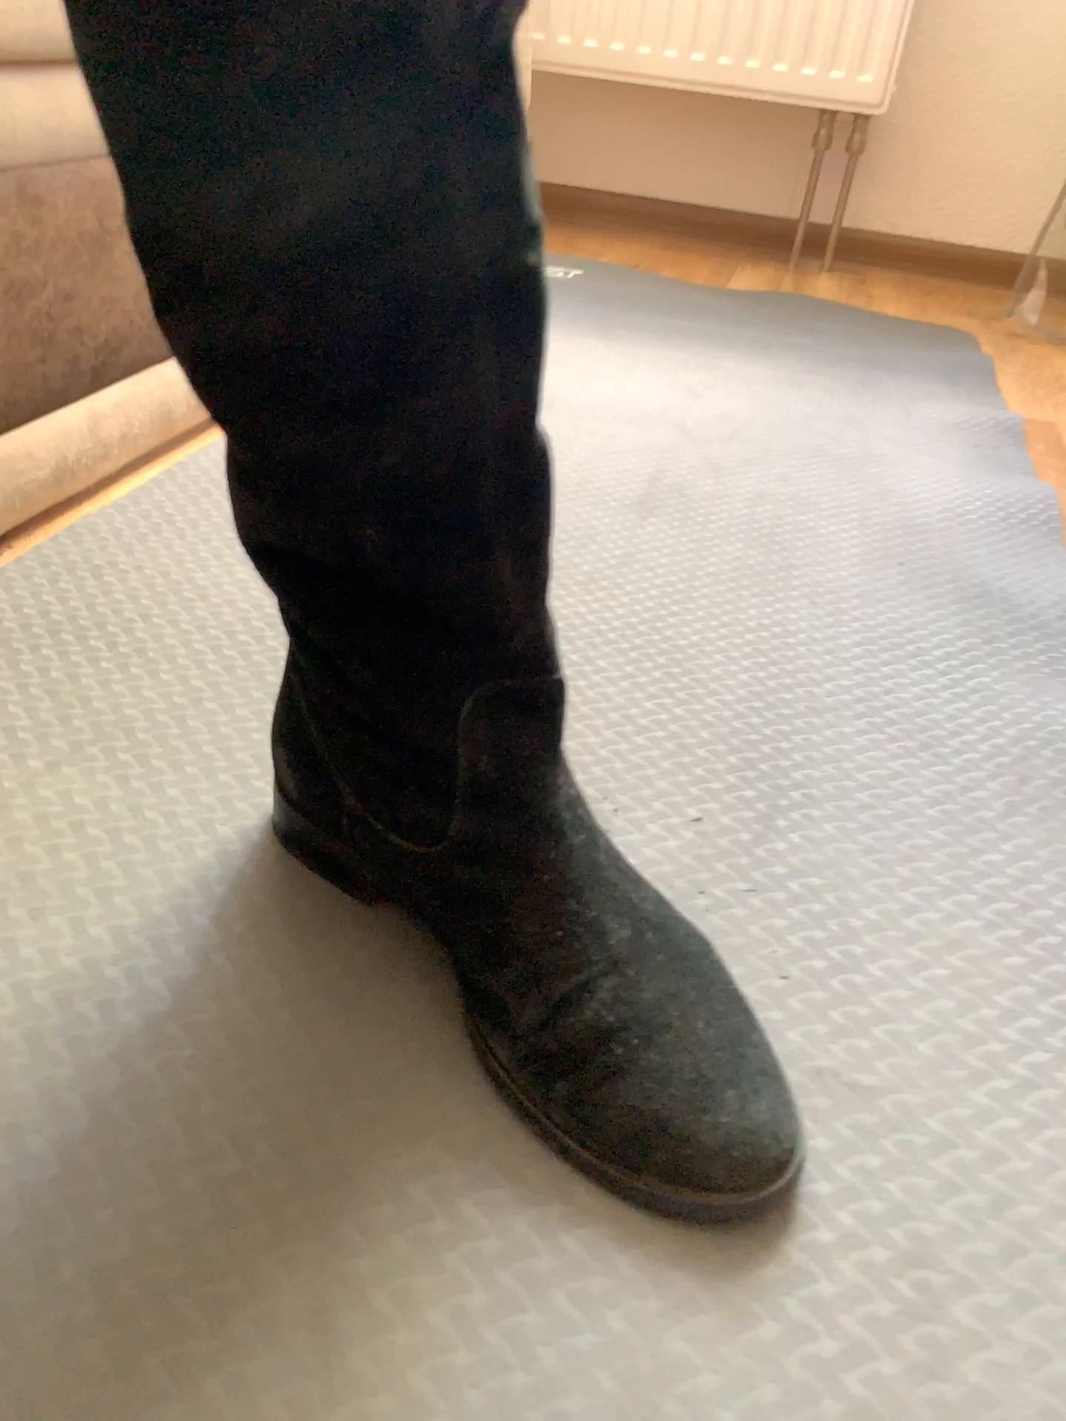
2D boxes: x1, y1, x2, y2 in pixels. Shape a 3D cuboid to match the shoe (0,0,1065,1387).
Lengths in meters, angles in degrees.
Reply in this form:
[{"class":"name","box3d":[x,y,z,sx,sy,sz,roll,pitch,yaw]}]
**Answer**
[{"class":"shoe","box3d":[-0.033,-0.088,0.293,0.130,0.378,0.321,-25,41,-37]}]
